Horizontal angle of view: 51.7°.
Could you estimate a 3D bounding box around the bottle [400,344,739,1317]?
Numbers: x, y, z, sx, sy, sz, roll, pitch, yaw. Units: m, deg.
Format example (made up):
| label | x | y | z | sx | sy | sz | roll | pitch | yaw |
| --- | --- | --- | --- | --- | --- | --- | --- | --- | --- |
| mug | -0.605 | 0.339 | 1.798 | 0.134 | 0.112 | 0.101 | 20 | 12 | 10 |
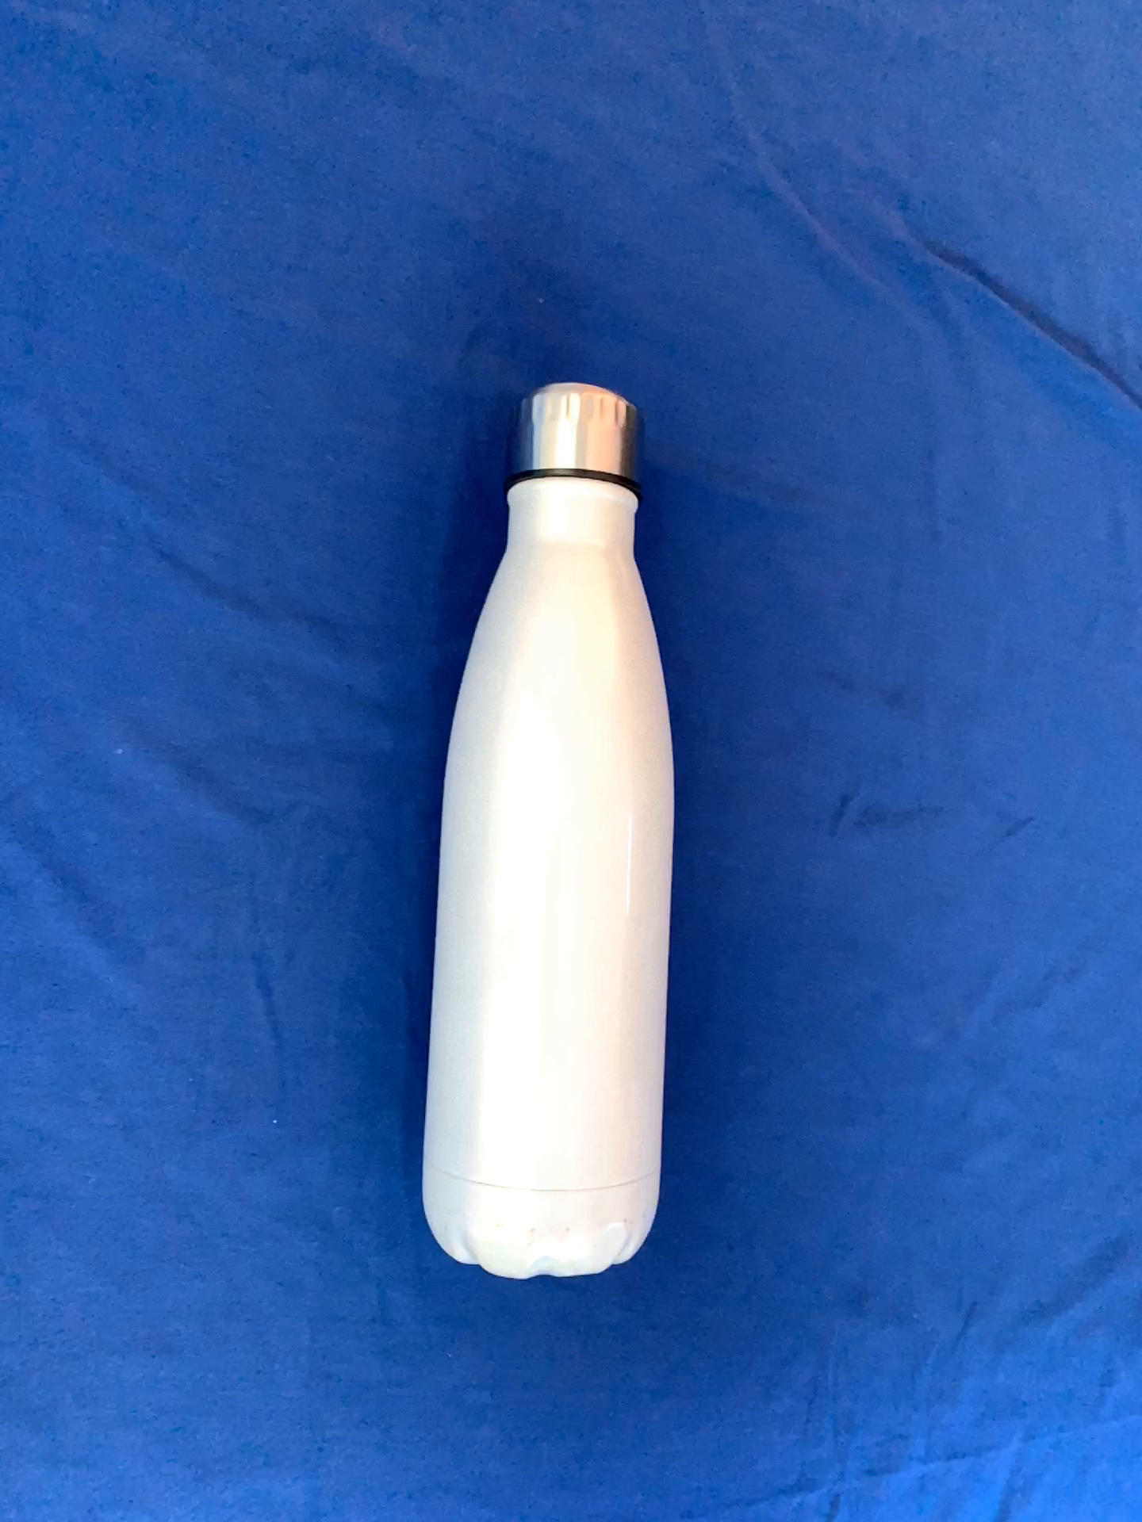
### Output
| label | x | y | z | sx | sy | sz | roll | pitch | yaw |
| --- | --- | --- | --- | --- | --- | --- | --- | --- | --- |
| bottle | -0.001 | 0.019 | 0.352 | 0.080 | 0.050 | 0.260 | 3 | 88 | -20 |
